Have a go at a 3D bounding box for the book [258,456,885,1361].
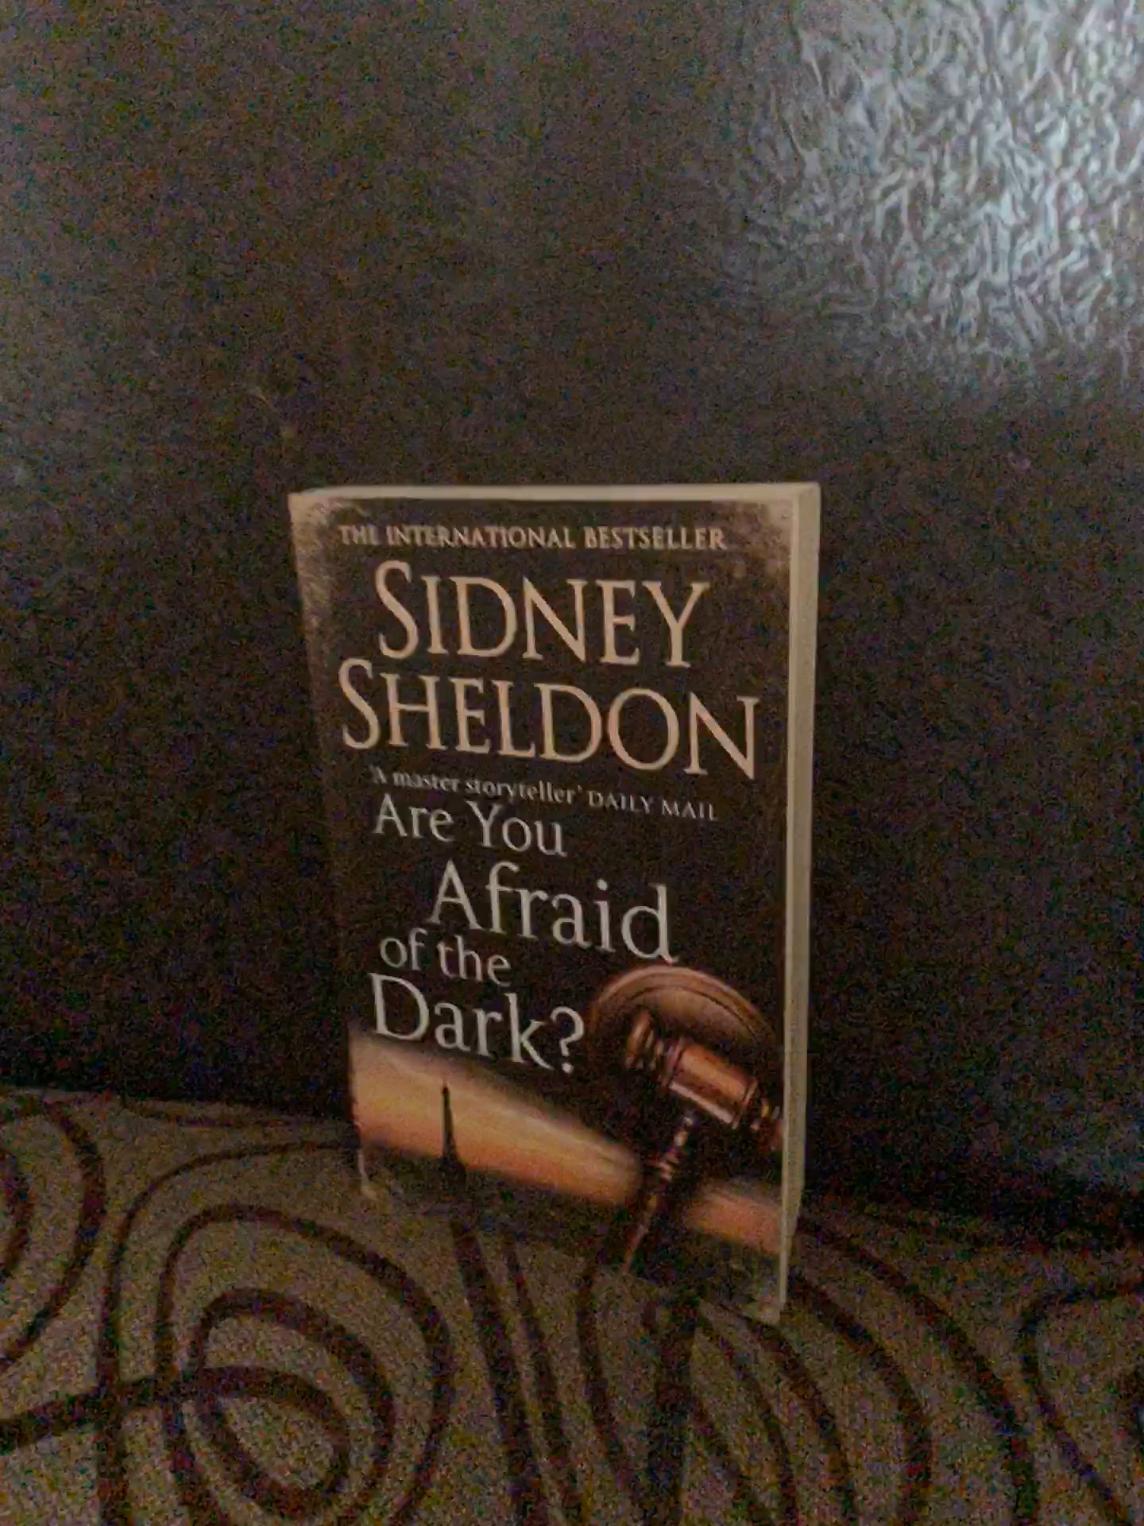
[{"bbox_3d":[-0.003,0.027,0.266,0.120,0.179,0.040,8,18,21],"label":"book"}]
